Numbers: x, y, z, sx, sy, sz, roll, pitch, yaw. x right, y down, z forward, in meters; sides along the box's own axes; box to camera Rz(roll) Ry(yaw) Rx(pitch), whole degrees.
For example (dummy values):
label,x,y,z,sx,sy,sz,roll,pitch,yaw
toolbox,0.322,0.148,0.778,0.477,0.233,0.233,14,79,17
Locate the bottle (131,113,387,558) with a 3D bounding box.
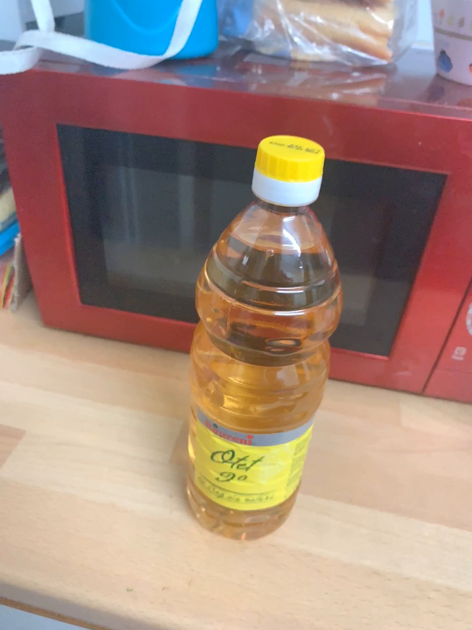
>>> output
label,x,y,z,sx,sy,sz,roll,pitch,yaw
bottle,0.008,0.023,0.273,0.090,0.228,0.081,13,37,11
